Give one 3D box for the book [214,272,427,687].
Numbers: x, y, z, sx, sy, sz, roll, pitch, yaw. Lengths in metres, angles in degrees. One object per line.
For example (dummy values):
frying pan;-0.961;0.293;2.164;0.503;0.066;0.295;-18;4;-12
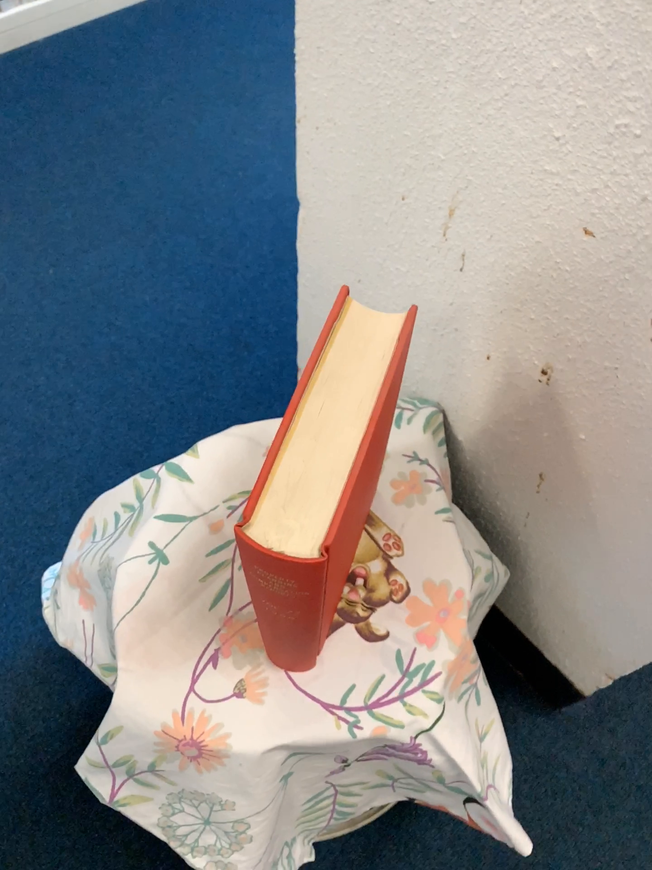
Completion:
book;0.001;0.047;0.436;0.050;0.246;0.169;18;60;9
